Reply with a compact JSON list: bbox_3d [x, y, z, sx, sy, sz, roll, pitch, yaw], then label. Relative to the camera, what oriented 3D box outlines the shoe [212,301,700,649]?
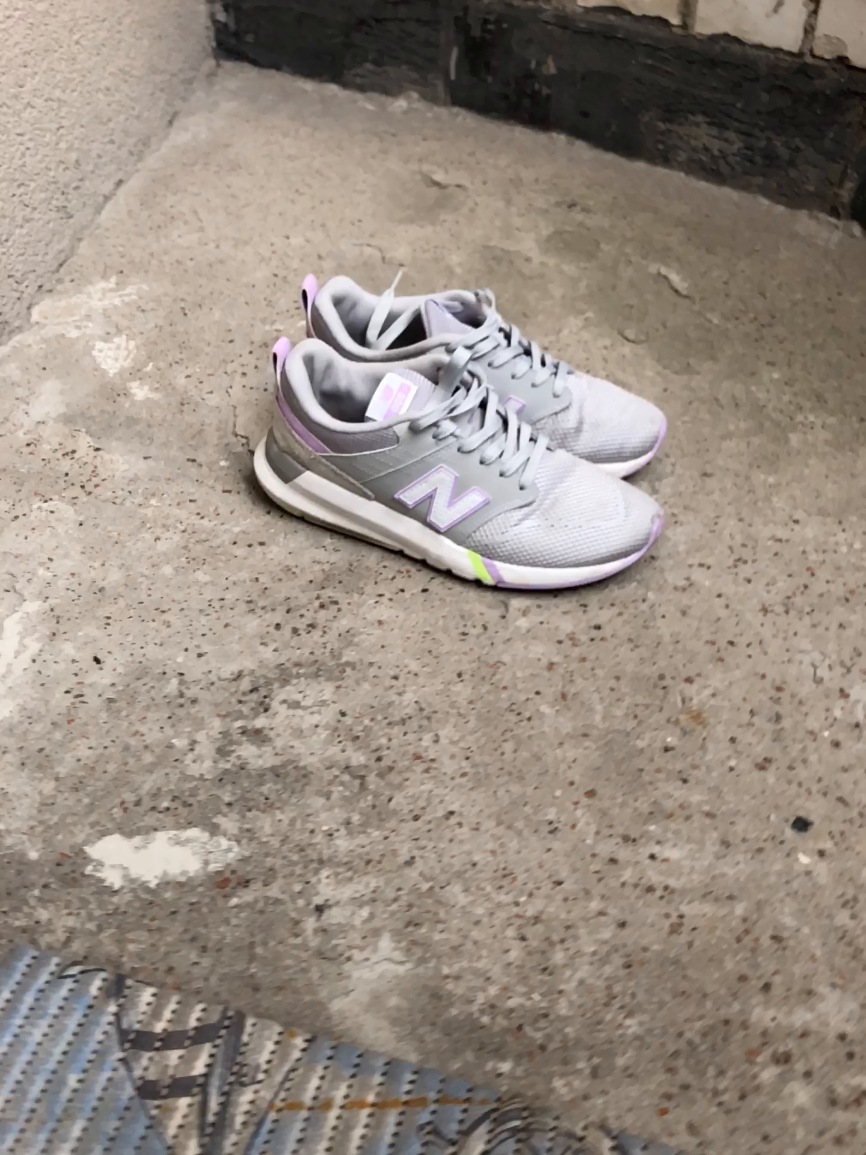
[{"bbox_3d":[0.012,-0.070,0.603,0.270,0.099,0.111,19,47,12],"label":"shoe"}]

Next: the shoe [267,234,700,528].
[{"bbox_3d":[0.033,-0.141,0.669,0.270,0.099,0.111,16,46,9],"label":"shoe"}]
